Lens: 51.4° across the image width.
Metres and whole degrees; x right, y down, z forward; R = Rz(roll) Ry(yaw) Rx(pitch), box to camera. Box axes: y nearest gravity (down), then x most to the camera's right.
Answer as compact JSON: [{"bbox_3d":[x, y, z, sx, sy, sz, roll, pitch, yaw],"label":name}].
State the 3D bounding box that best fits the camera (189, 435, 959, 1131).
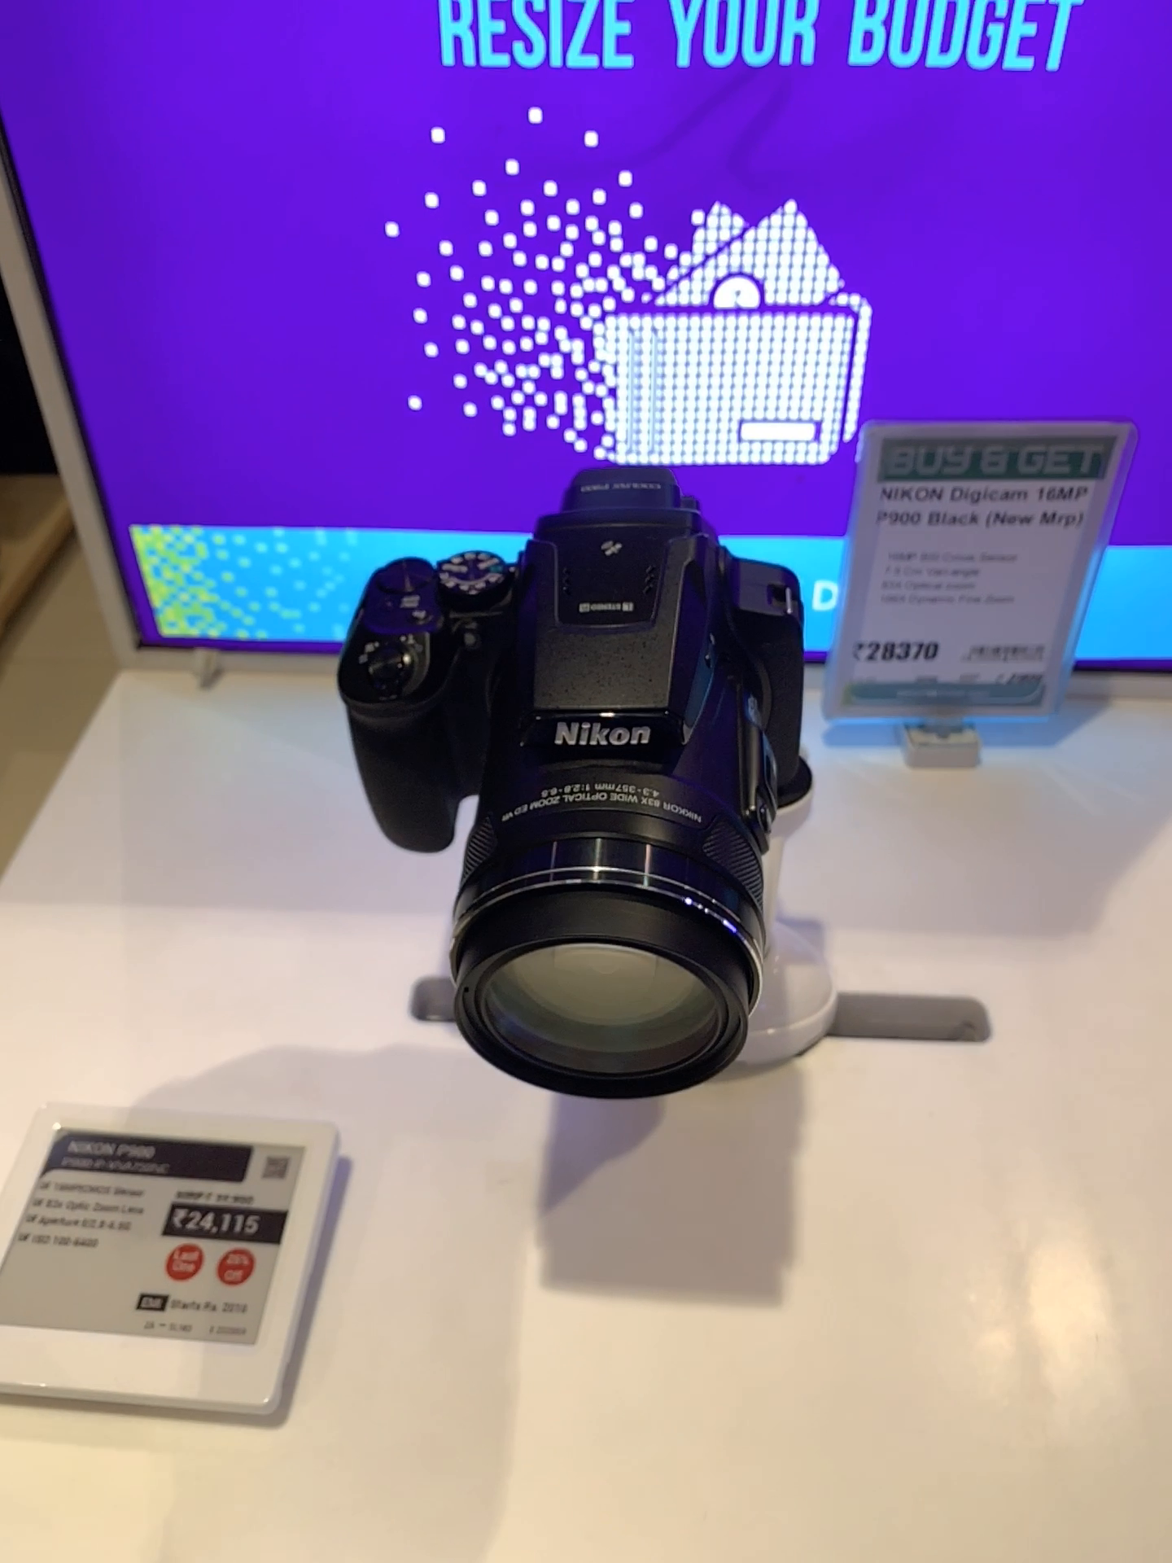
[{"bbox_3d":[0.001,-0.010,0.311,0.140,0.090,0.161,2,41,2],"label":"camera"}]
